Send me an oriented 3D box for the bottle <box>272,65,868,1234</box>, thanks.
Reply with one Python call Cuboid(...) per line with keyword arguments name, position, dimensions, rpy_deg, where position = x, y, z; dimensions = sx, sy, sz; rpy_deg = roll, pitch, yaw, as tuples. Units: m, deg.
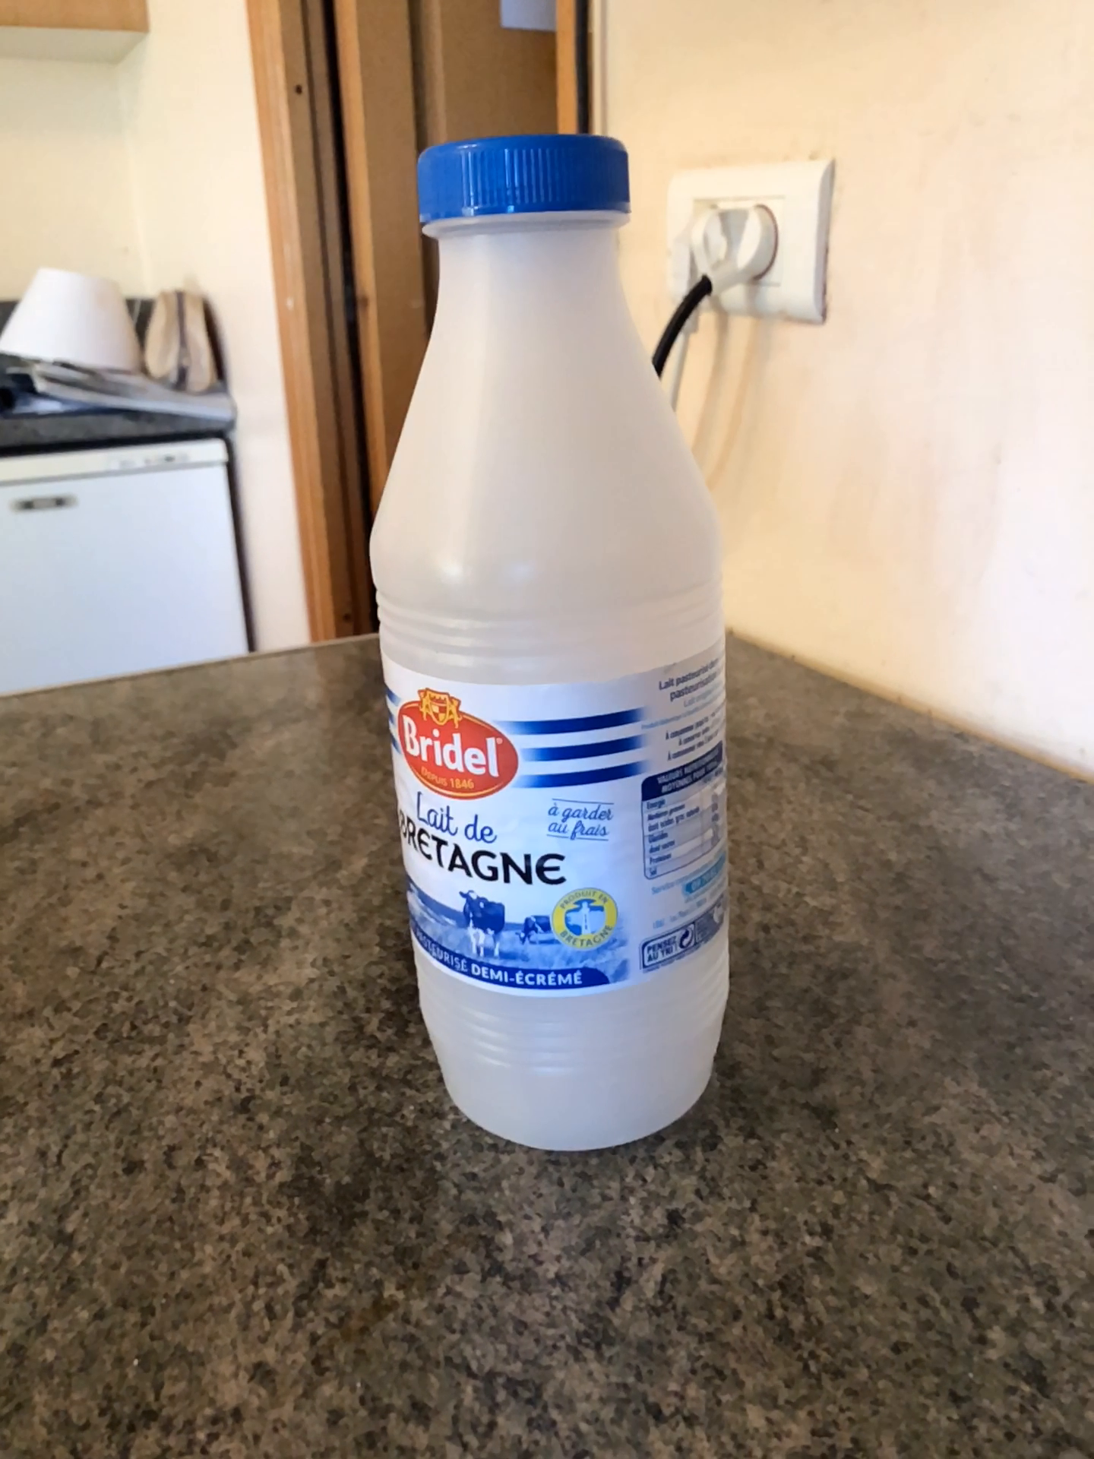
Cuboid(name="bottle", position=(0.009, -0.018, 0.298), dimensions=(0.090, 0.239, 0.090), rpy_deg=(-1, 20, 1))
